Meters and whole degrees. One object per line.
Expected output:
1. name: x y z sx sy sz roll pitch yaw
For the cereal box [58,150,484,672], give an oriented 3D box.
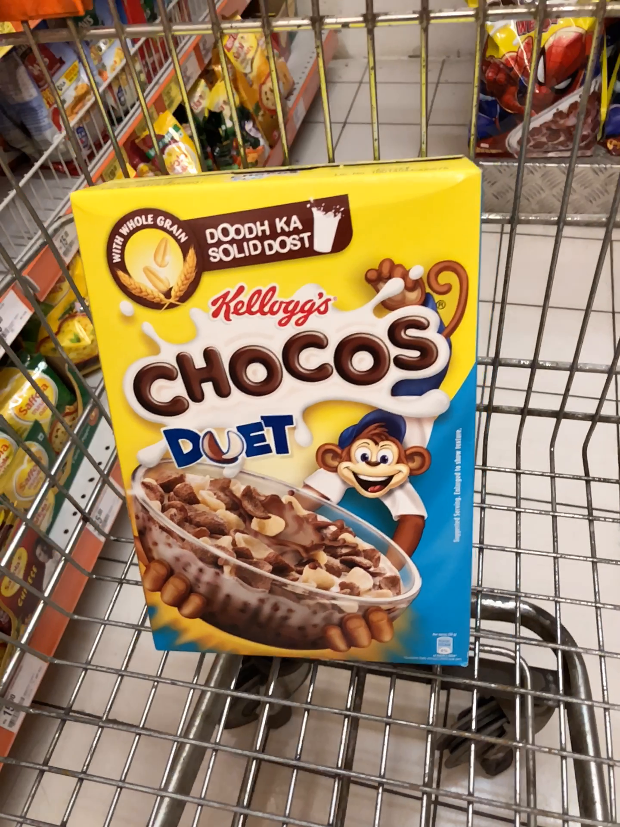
1. cereal box: -0.008 0.005 0.365 0.180 0.259 0.070 0 22 9
